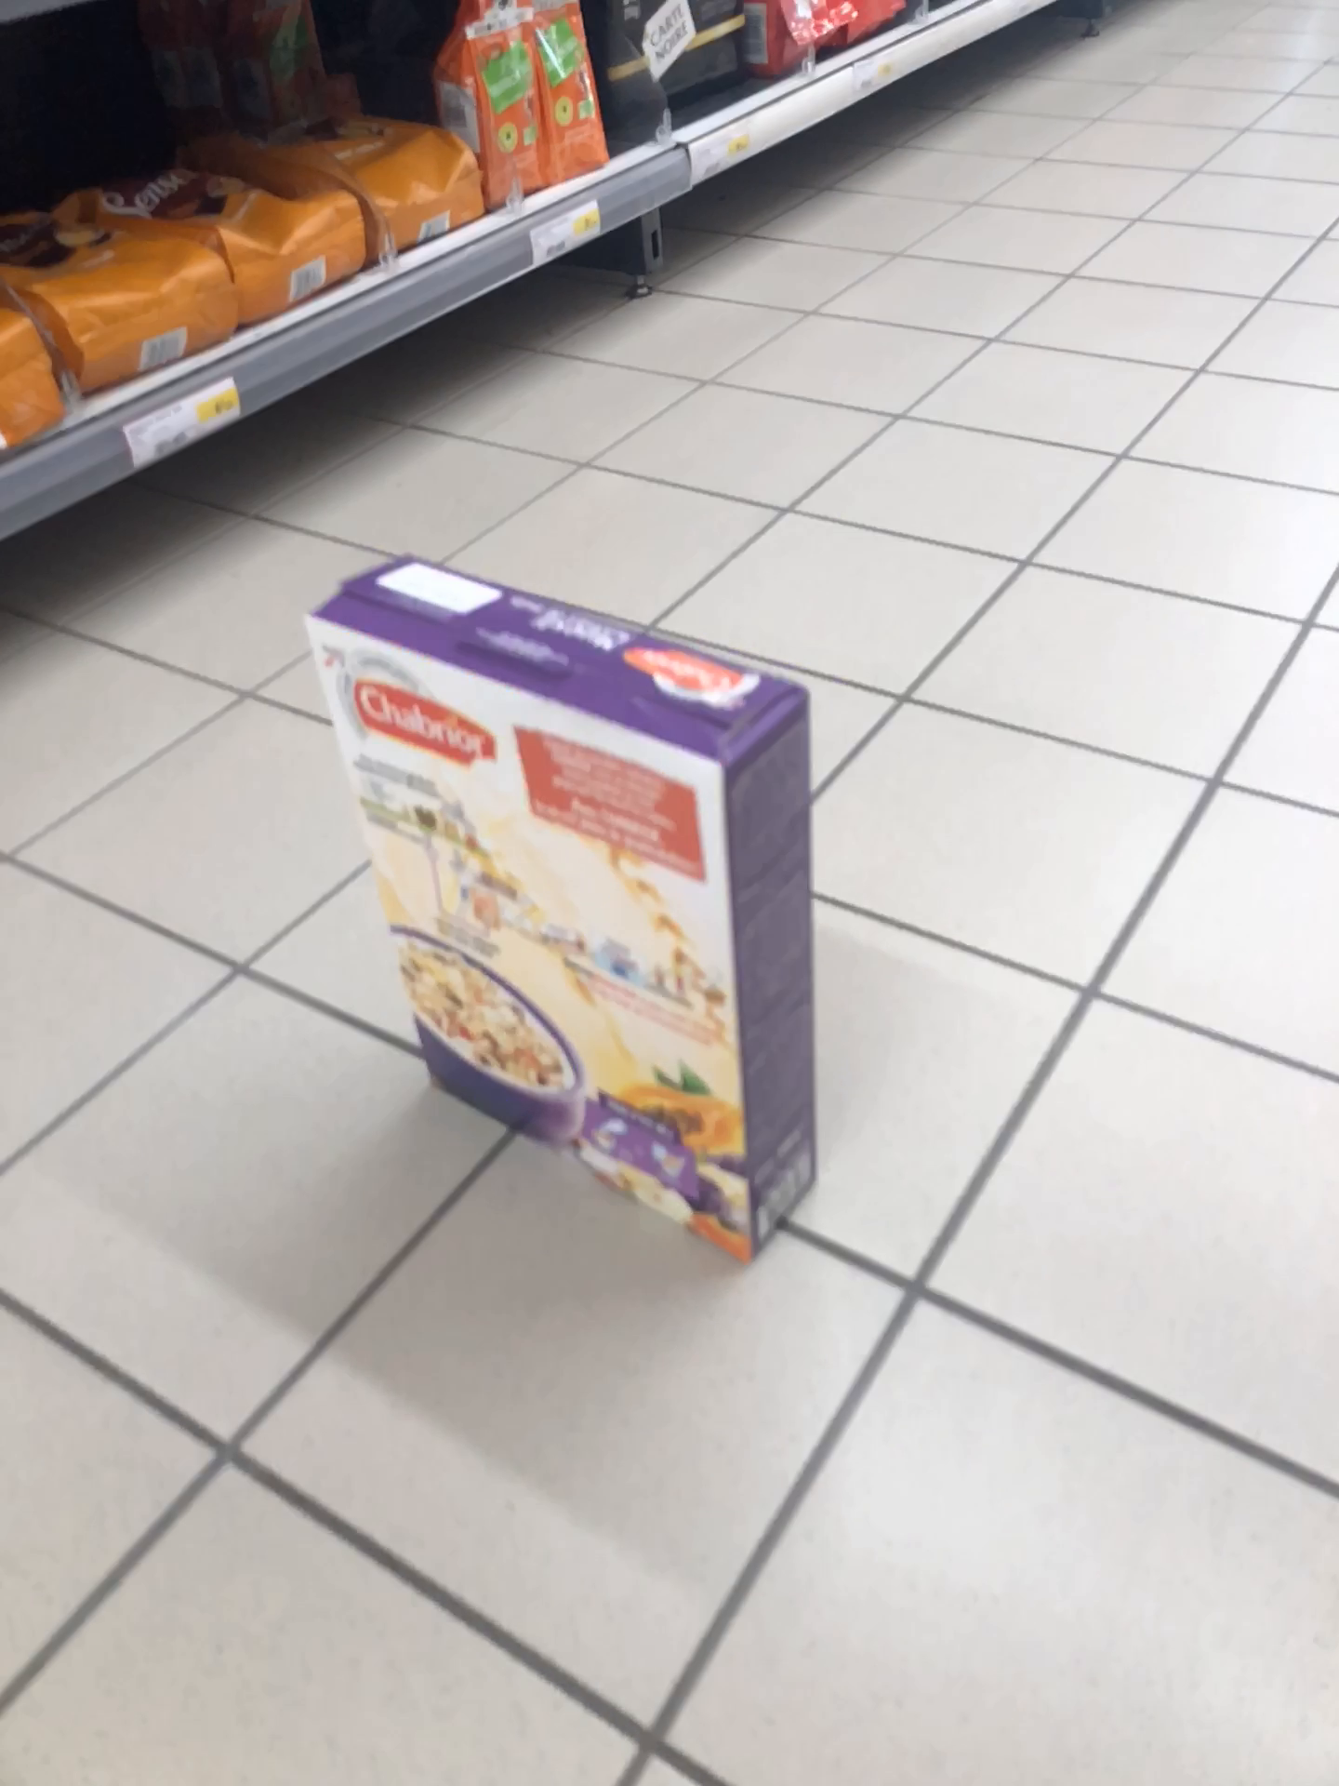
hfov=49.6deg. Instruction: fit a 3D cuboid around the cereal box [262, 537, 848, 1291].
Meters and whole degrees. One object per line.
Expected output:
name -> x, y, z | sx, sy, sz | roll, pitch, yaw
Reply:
cereal box -> -0.038, 0.011, 0.591 | 0.210, 0.258, 0.070 | 23, 47, 29
